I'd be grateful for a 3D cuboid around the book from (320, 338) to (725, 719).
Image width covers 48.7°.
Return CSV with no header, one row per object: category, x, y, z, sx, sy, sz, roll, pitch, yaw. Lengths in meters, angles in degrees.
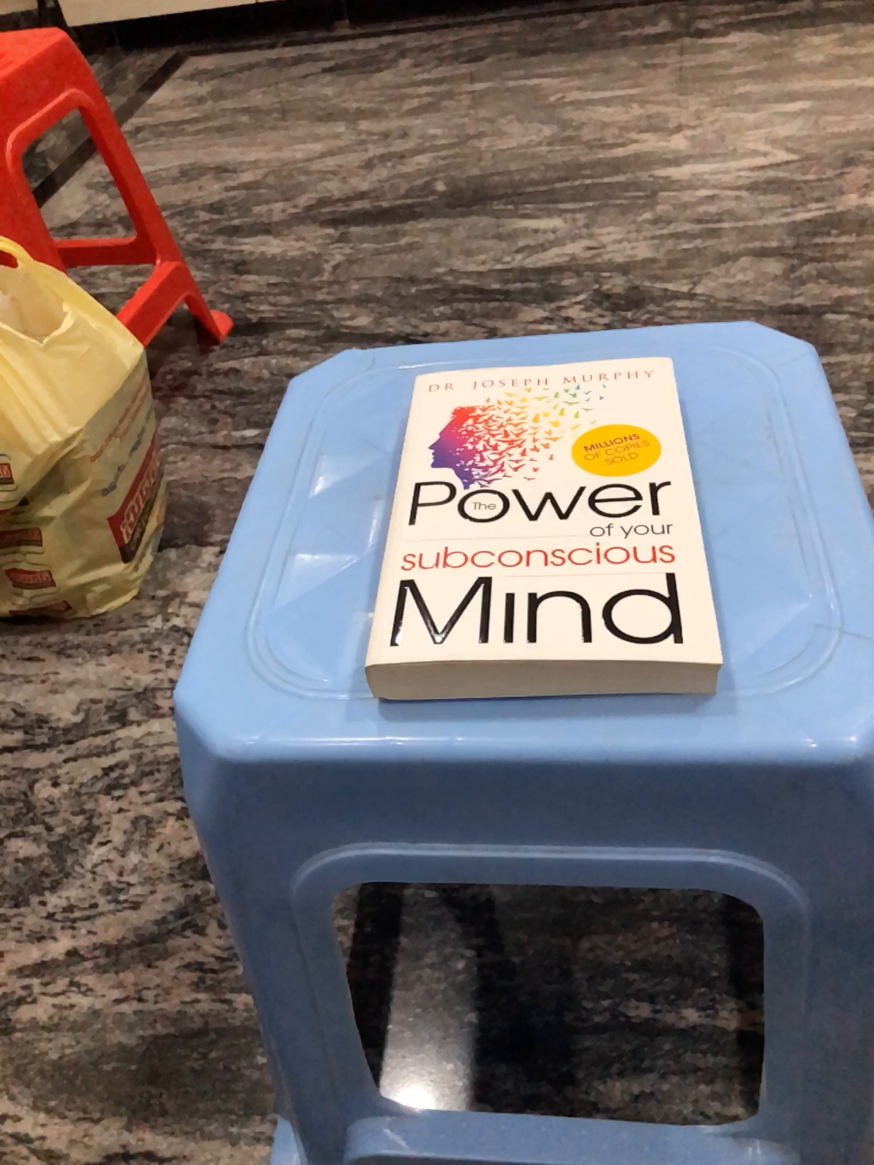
book,0.037,-0.033,0.415,0.140,0.030,0.201,-3,45,9
